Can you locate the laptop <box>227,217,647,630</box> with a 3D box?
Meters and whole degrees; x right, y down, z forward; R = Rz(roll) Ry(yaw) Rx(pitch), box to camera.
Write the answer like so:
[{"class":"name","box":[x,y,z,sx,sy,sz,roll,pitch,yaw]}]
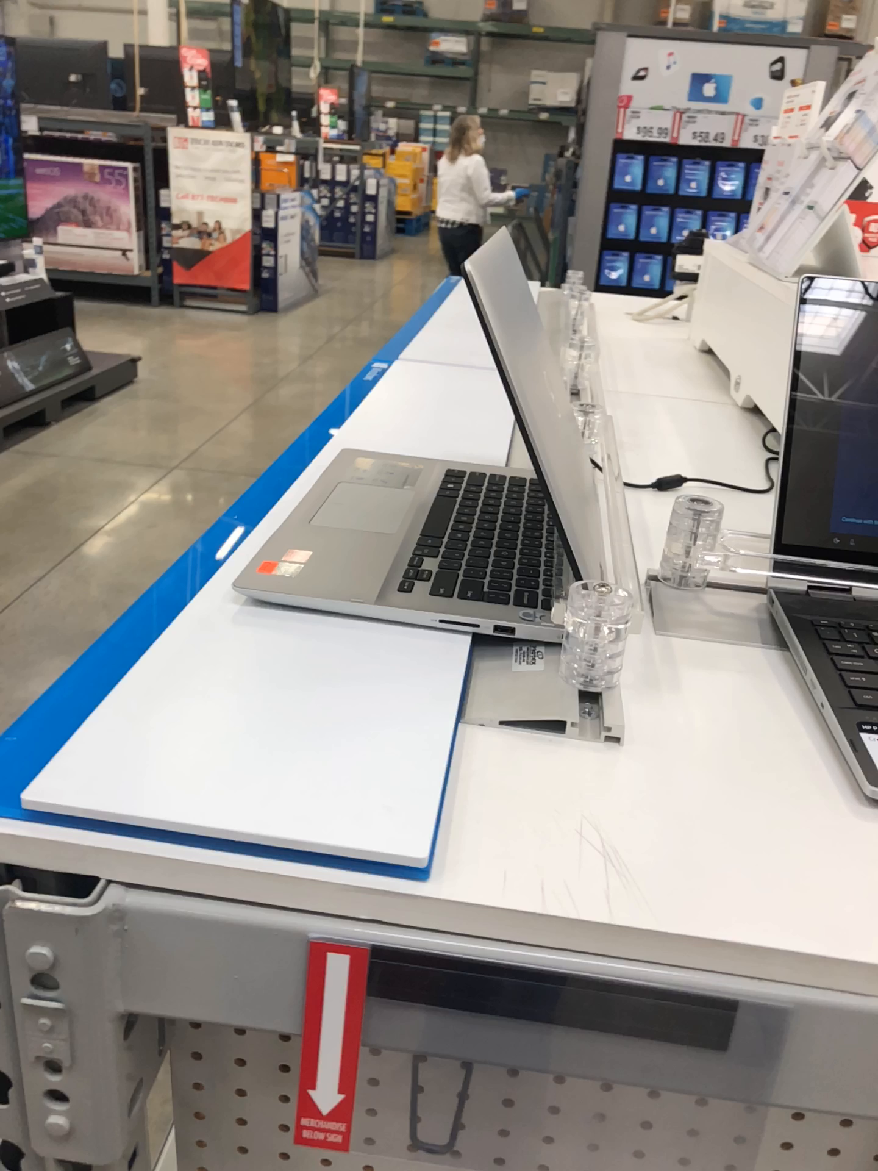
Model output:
[{"class":"laptop","box":[0.011,-0.140,0.688,0.222,0.199,0.320,7,24,5]}]
